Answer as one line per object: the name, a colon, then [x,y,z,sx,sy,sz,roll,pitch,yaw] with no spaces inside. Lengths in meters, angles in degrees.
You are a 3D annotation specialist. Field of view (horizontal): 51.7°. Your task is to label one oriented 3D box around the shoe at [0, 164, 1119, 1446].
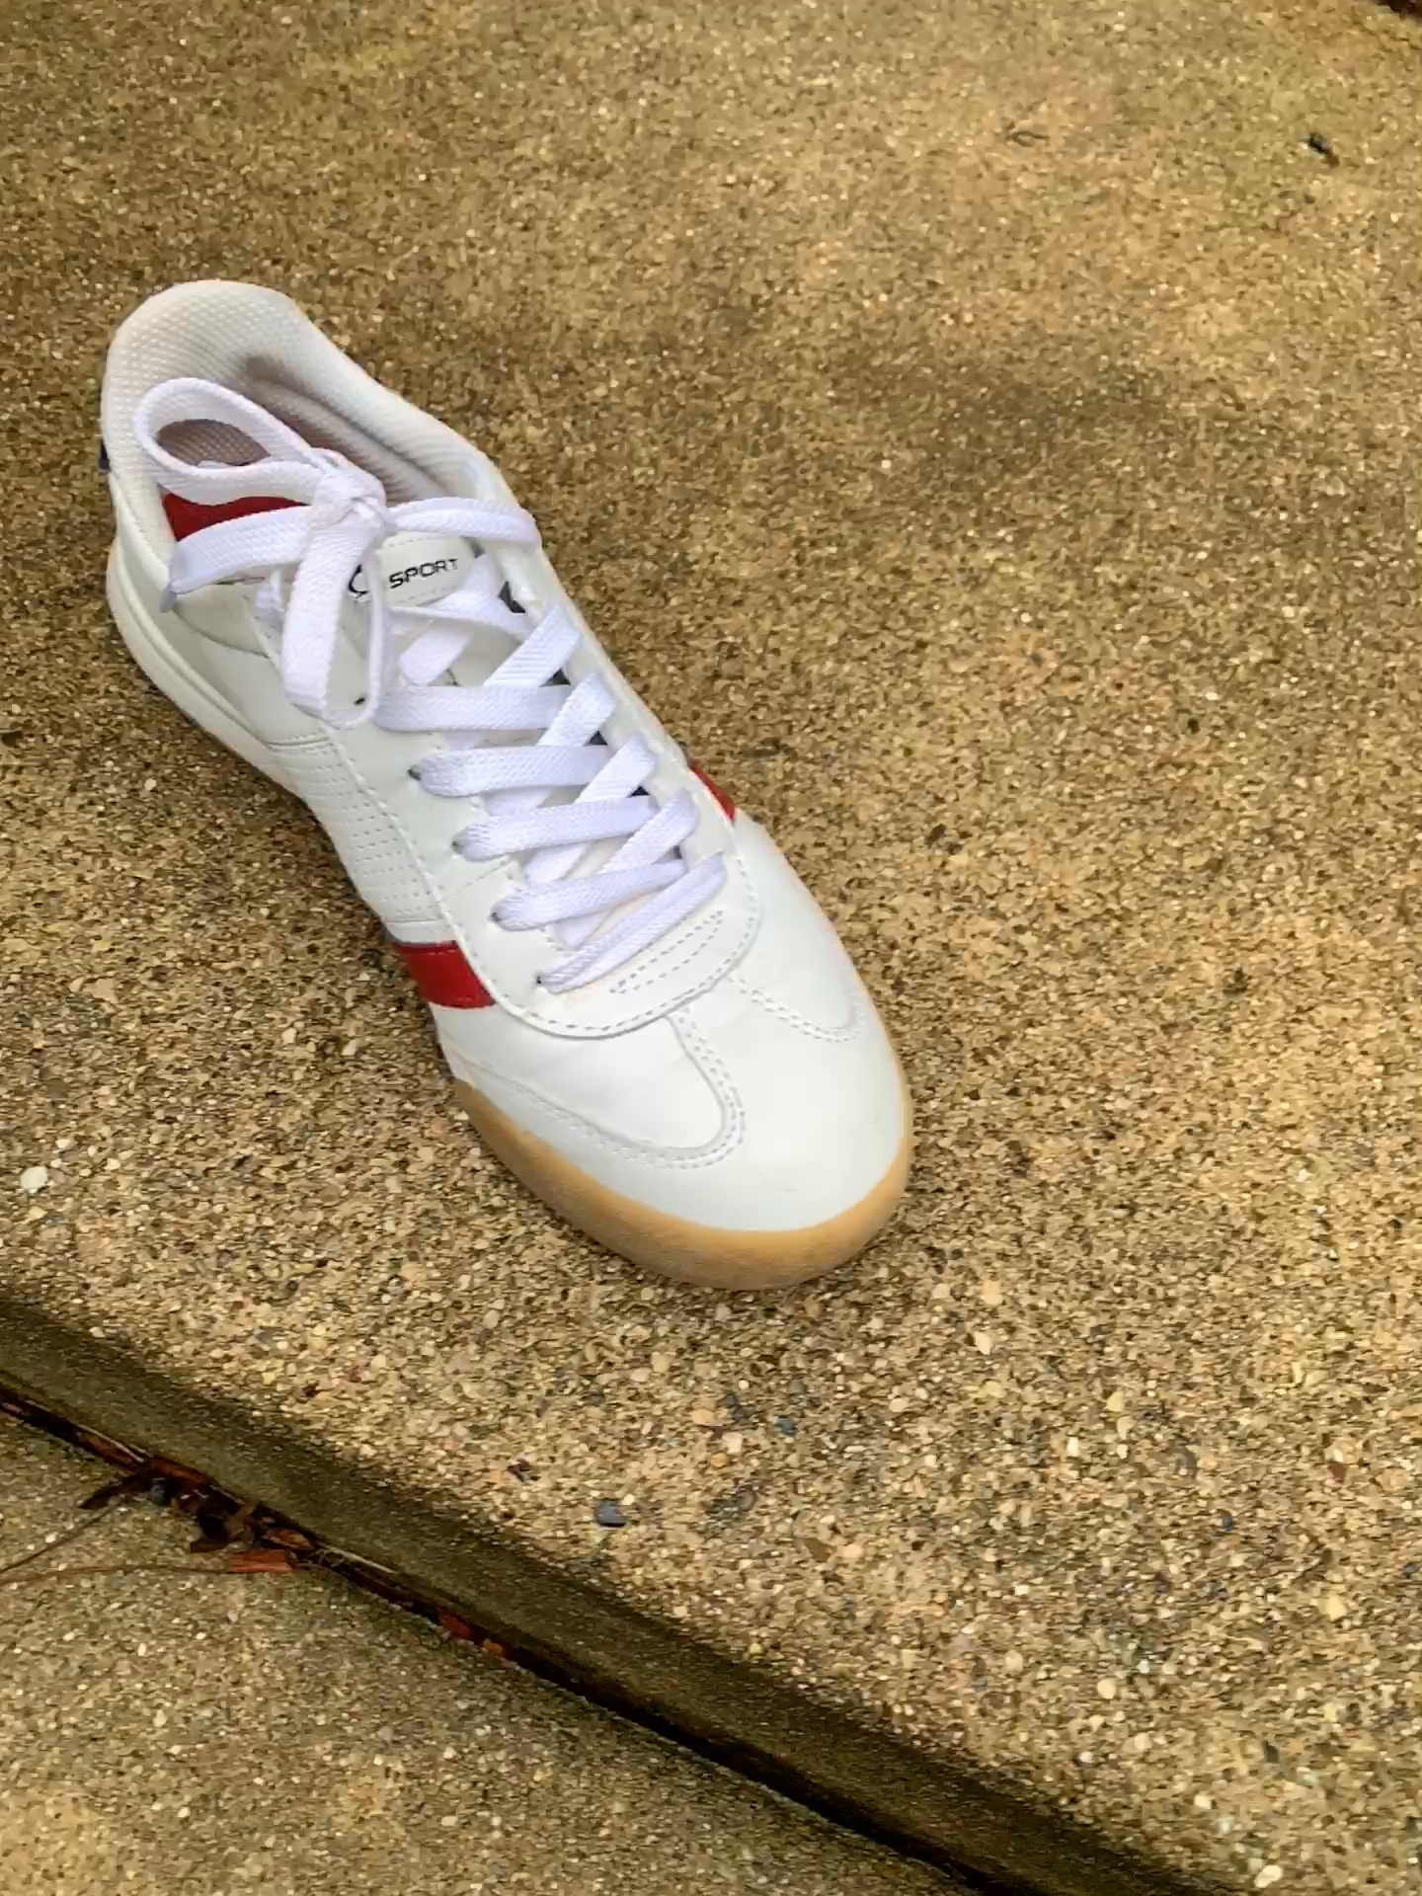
shoe: [-0.054,-0.041,0.325,0.098,0.092,0.270,-31,70,-25]
